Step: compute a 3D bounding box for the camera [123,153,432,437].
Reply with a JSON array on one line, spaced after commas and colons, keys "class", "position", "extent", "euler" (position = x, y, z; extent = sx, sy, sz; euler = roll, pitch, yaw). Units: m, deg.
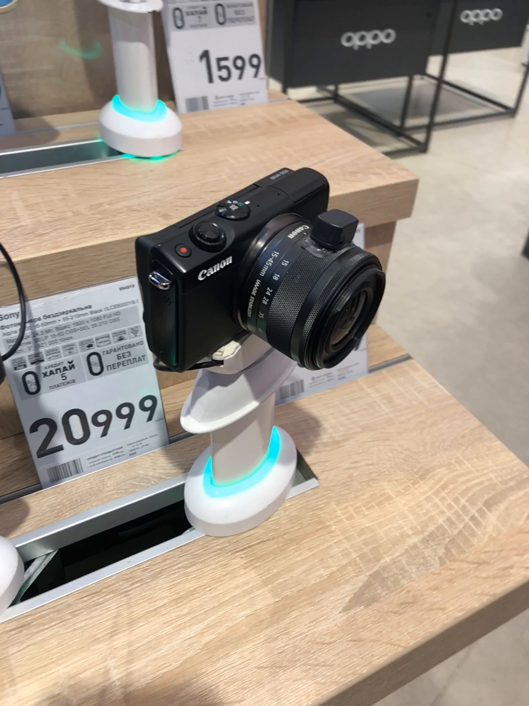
[{"class": "camera", "position": [0.008, -0.035, 0.270], "extent": [0.082, 0.060, 0.112], "euler": [30, 47, 25]}]
